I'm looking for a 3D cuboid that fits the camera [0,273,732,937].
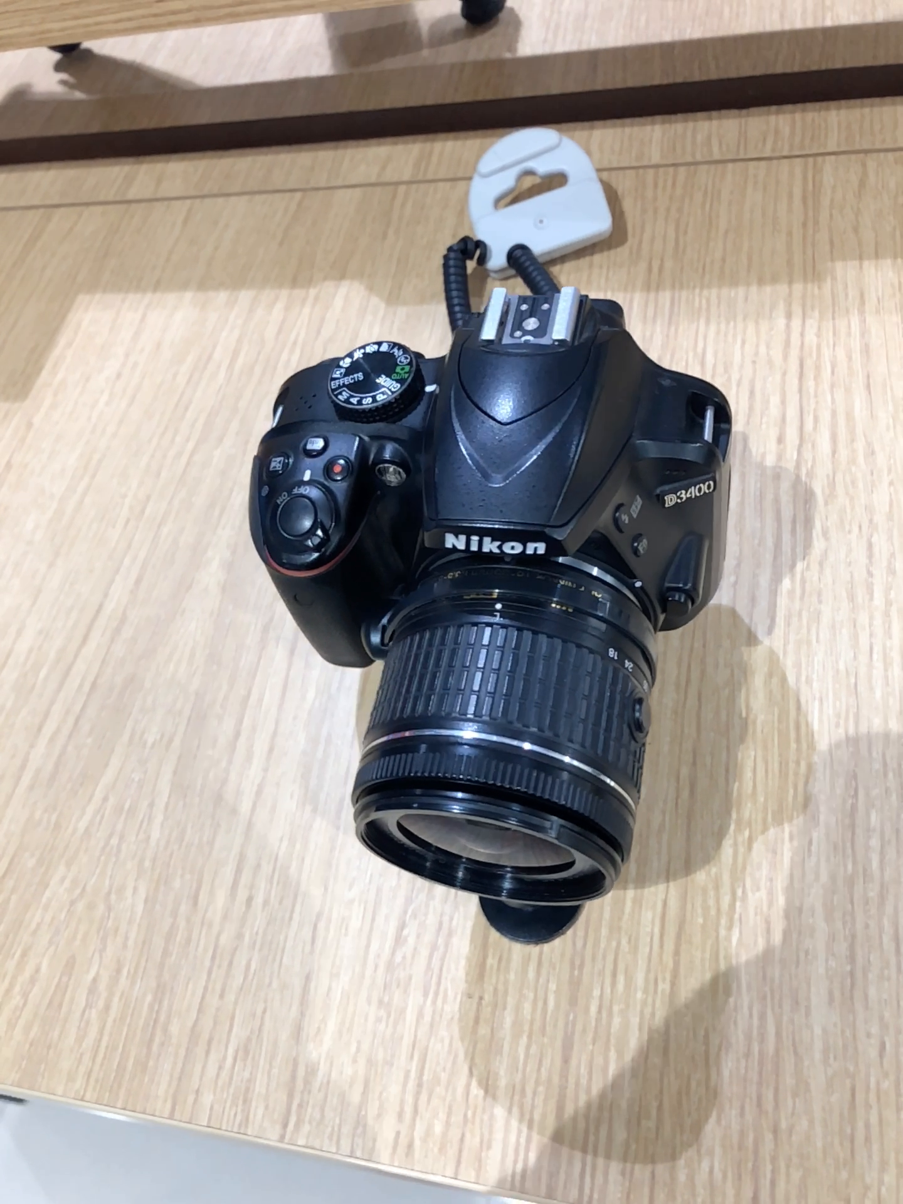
[{"bbox_3d":[-0.006,-0.002,0.240,0.133,0.084,0.120,3,59,16],"label":"camera"}]
